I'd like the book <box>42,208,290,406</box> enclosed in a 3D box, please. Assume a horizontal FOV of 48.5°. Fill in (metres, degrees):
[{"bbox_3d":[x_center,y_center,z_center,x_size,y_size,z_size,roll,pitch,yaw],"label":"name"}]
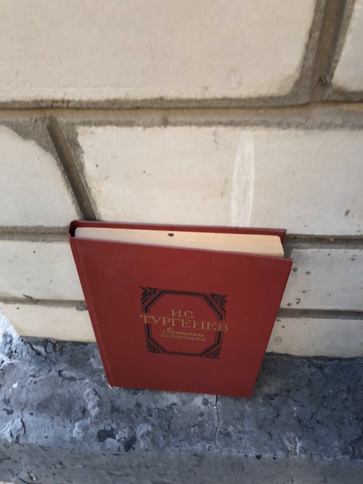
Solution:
[{"bbox_3d":[-0.006,0.065,0.317,0.147,0.205,0.026,4,46,7],"label":"book"}]
